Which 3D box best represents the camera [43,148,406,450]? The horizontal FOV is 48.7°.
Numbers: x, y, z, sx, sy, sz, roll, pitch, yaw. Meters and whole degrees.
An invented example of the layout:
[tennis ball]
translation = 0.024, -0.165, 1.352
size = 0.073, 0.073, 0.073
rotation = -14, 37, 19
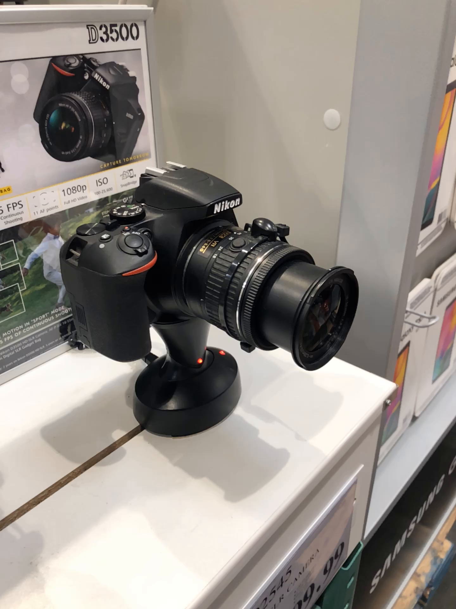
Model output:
[camera]
translation = -0.001, -0.021, 0.287
size = 0.141, 0.089, 0.130
rotation = 23, 38, 36
